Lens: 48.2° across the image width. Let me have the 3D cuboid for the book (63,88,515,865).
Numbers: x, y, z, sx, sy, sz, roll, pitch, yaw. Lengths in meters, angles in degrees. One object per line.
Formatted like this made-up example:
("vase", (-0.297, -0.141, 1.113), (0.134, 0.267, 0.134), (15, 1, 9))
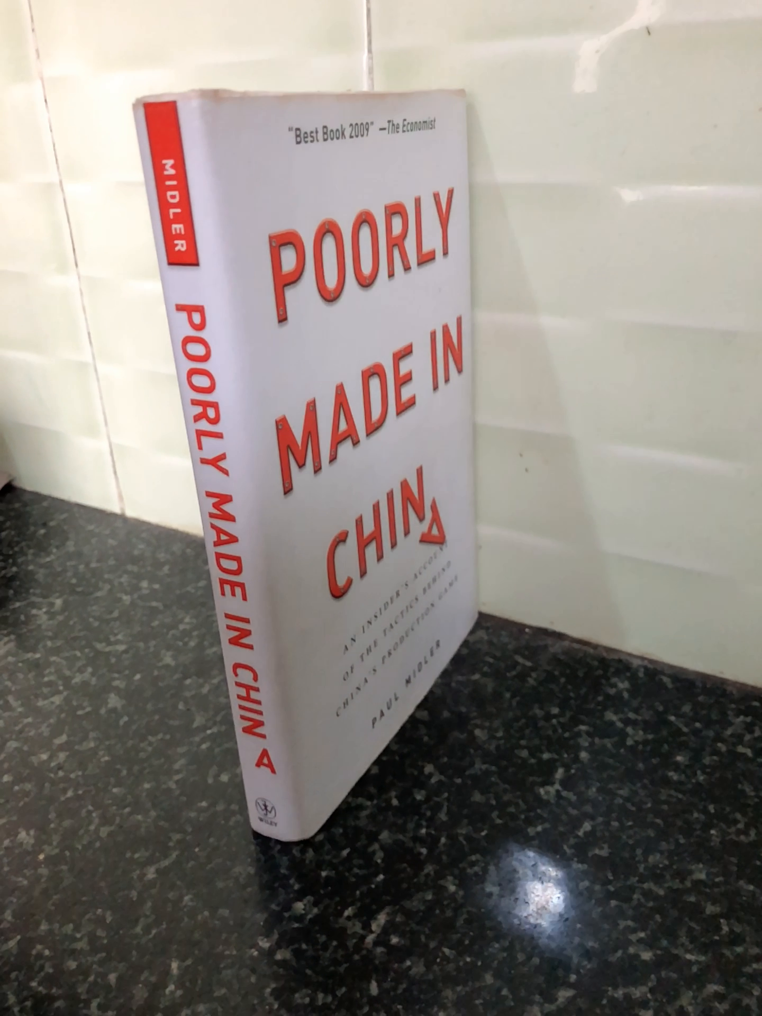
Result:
("book", (-0.006, -0.028, 0.307), (0.040, 0.219, 0.191), (10, 28, 26))
